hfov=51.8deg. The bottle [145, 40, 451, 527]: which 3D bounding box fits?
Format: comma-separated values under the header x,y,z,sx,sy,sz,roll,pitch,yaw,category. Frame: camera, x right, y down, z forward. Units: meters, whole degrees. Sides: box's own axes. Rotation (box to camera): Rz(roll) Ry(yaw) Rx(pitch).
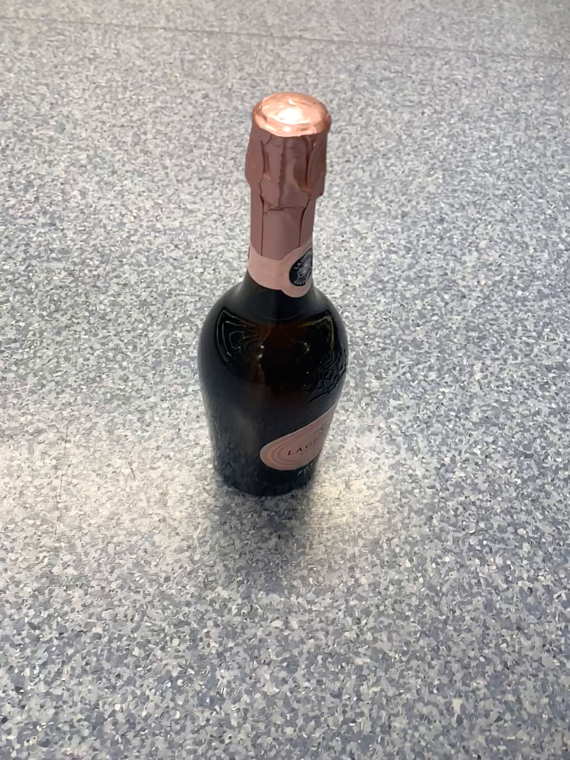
x,y,z,sx,sy,sz,roll,pitch,yaw,category
-0.001,-0.027,0.339,0.079,0.269,0.094,38,59,21,bottle
